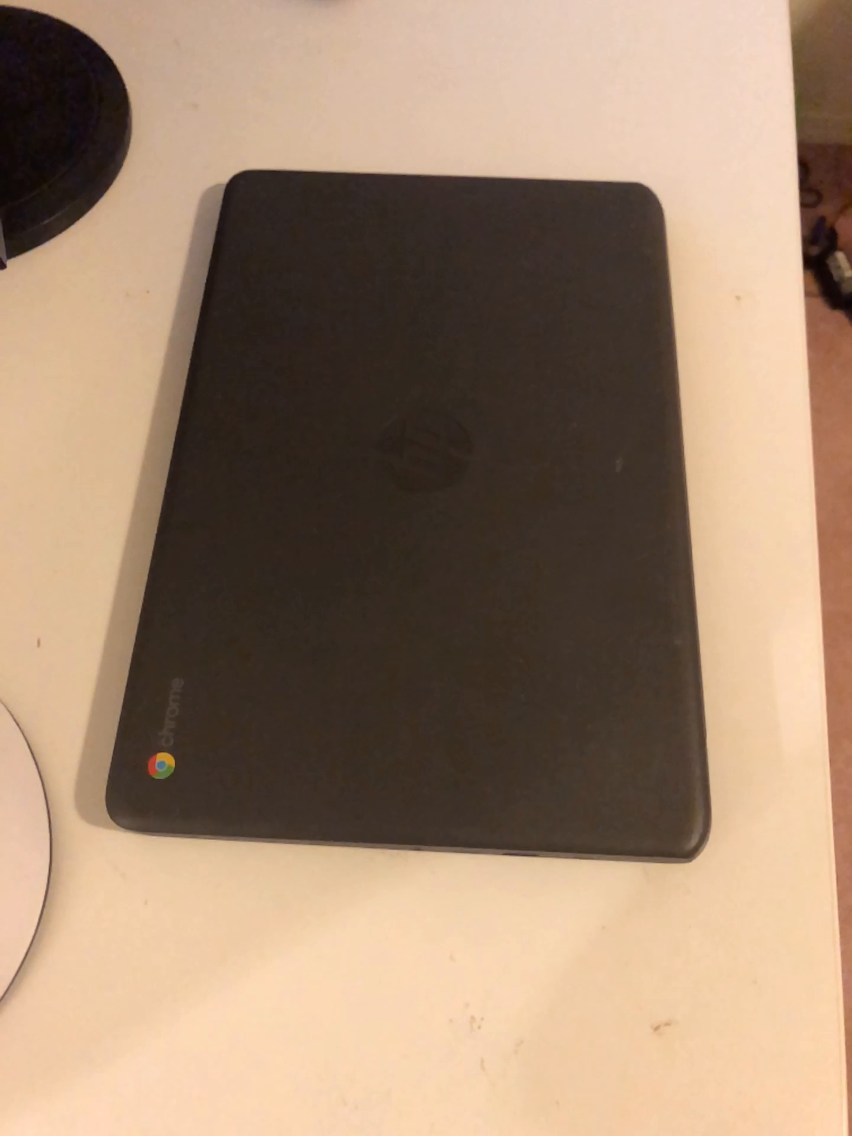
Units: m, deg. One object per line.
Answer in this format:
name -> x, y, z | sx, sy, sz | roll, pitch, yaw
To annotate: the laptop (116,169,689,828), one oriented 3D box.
laptop -> -0.002, -0.055, 0.413 | 0.208, 0.001, 0.326 | 2, 64, 0
